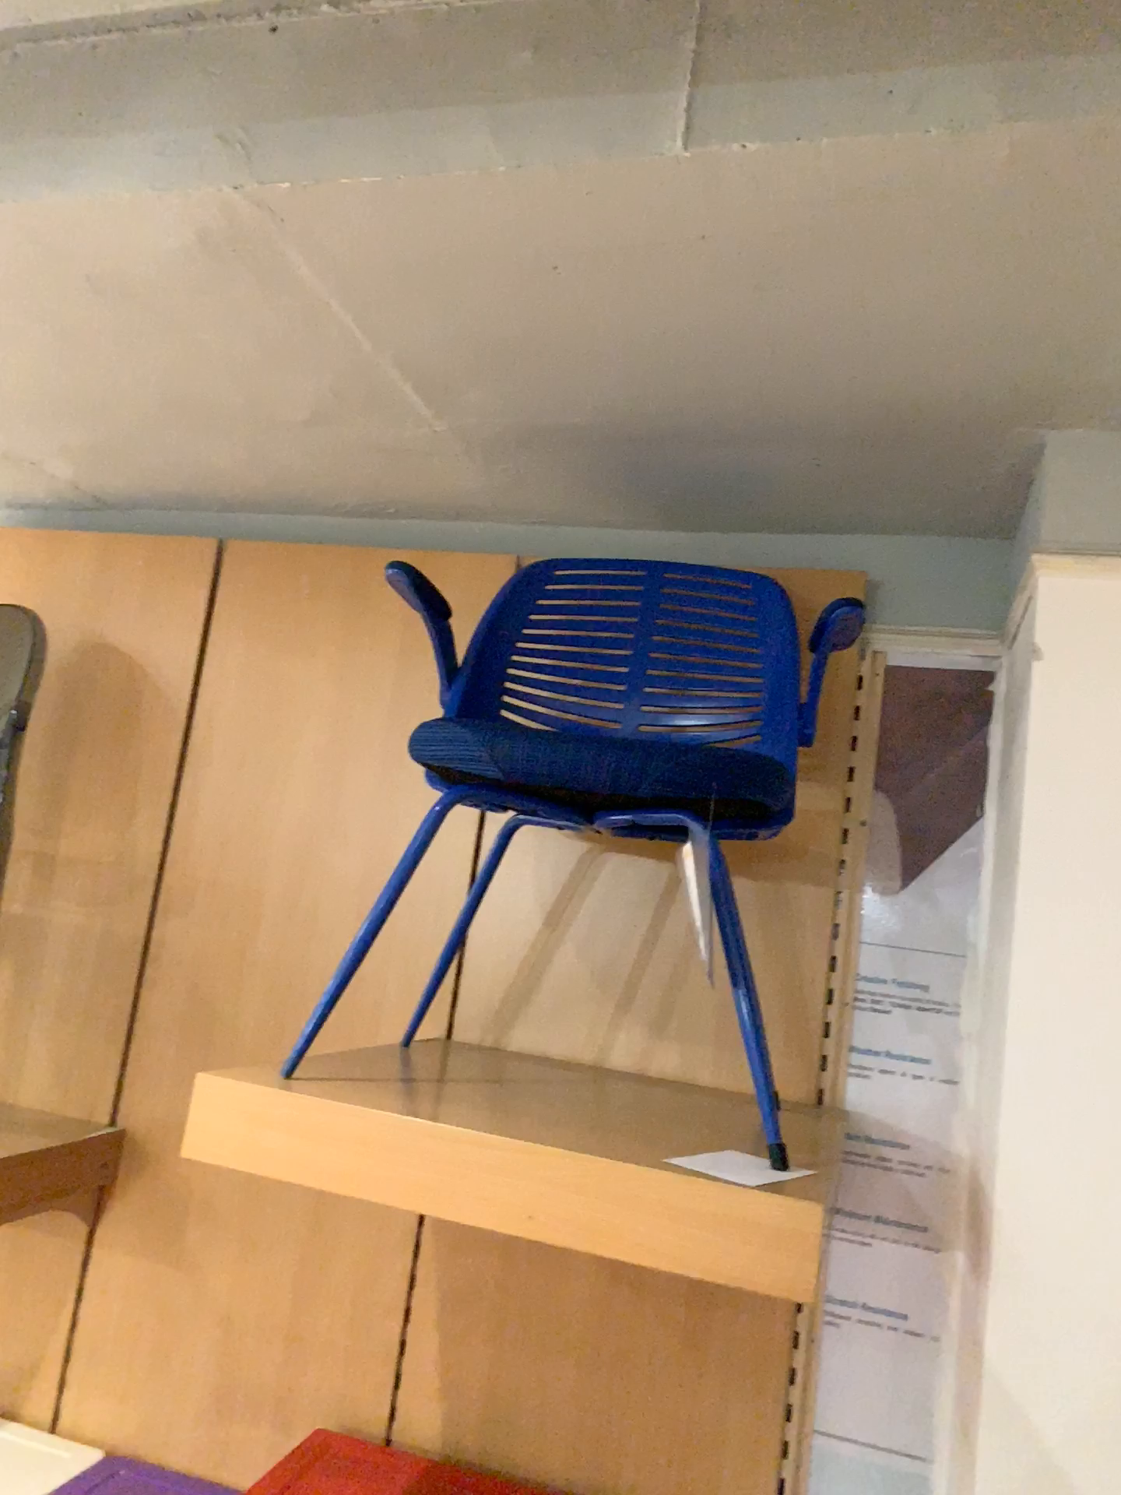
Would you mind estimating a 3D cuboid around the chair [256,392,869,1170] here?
[{"bbox_3d":[0.056,0.041,1.501,0.570,0.791,0.549,6,-9,12],"label":"chair"}]
